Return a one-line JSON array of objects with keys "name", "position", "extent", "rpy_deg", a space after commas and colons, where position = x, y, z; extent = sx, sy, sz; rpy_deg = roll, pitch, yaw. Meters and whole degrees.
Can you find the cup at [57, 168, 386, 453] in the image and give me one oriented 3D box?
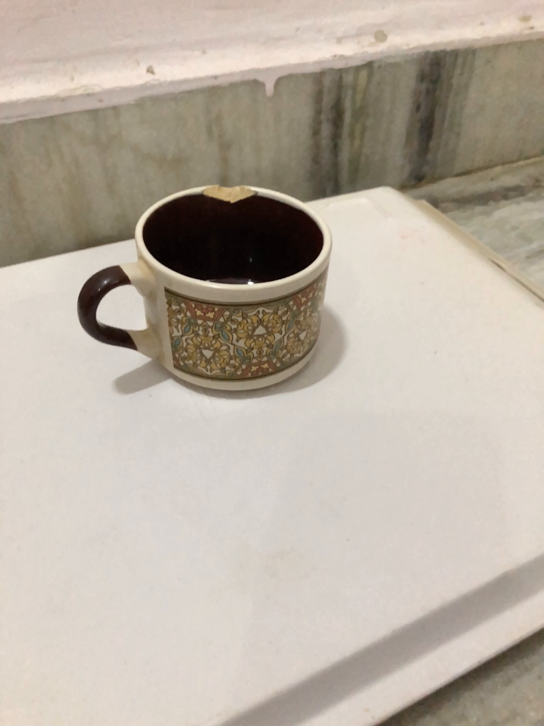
[{"name": "cup", "position": [-0.022, -0.027, 0.247], "extent": [0.100, 0.060, 0.080], "rpy_deg": [-16, 45, -20]}]
